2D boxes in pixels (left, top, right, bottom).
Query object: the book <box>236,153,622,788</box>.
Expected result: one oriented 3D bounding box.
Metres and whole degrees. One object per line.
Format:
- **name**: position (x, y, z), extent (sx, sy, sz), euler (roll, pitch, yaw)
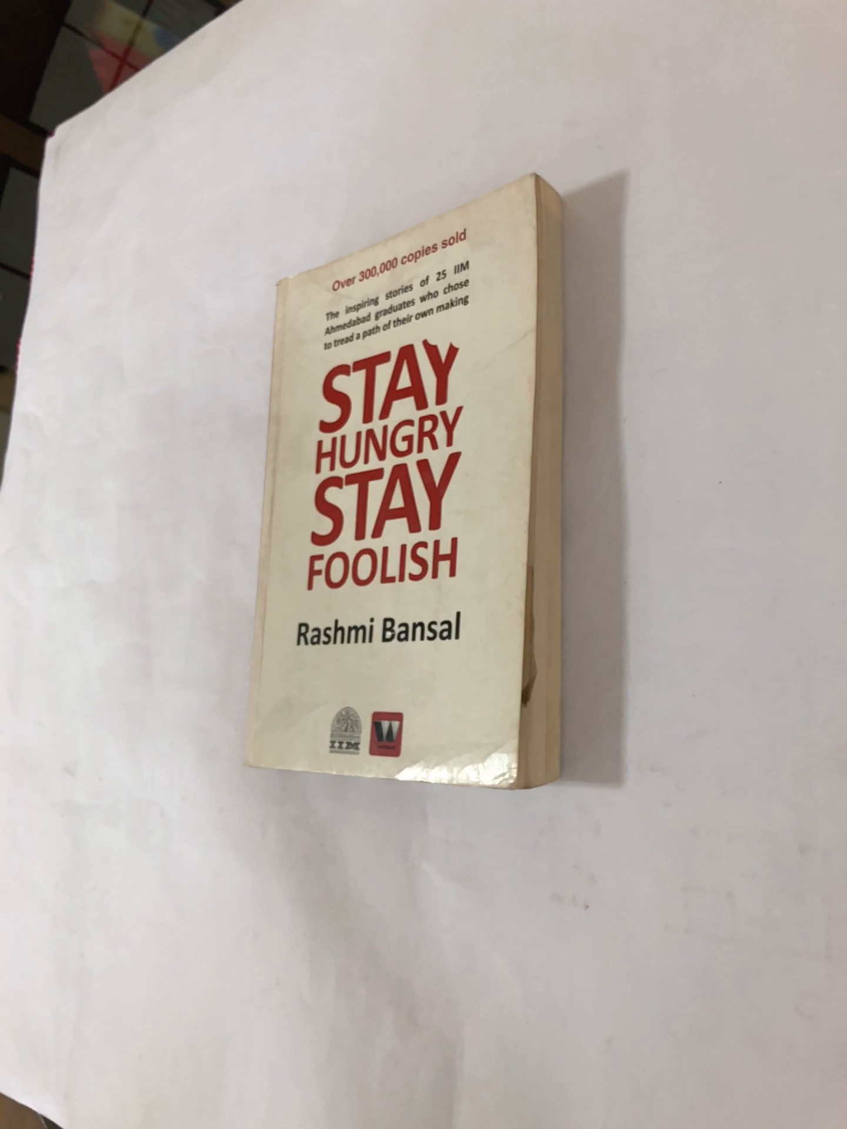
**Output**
- **book**: position (0.000, -0.024, 0.330), extent (0.131, 0.040, 0.190), euler (-7, 75, 40)
